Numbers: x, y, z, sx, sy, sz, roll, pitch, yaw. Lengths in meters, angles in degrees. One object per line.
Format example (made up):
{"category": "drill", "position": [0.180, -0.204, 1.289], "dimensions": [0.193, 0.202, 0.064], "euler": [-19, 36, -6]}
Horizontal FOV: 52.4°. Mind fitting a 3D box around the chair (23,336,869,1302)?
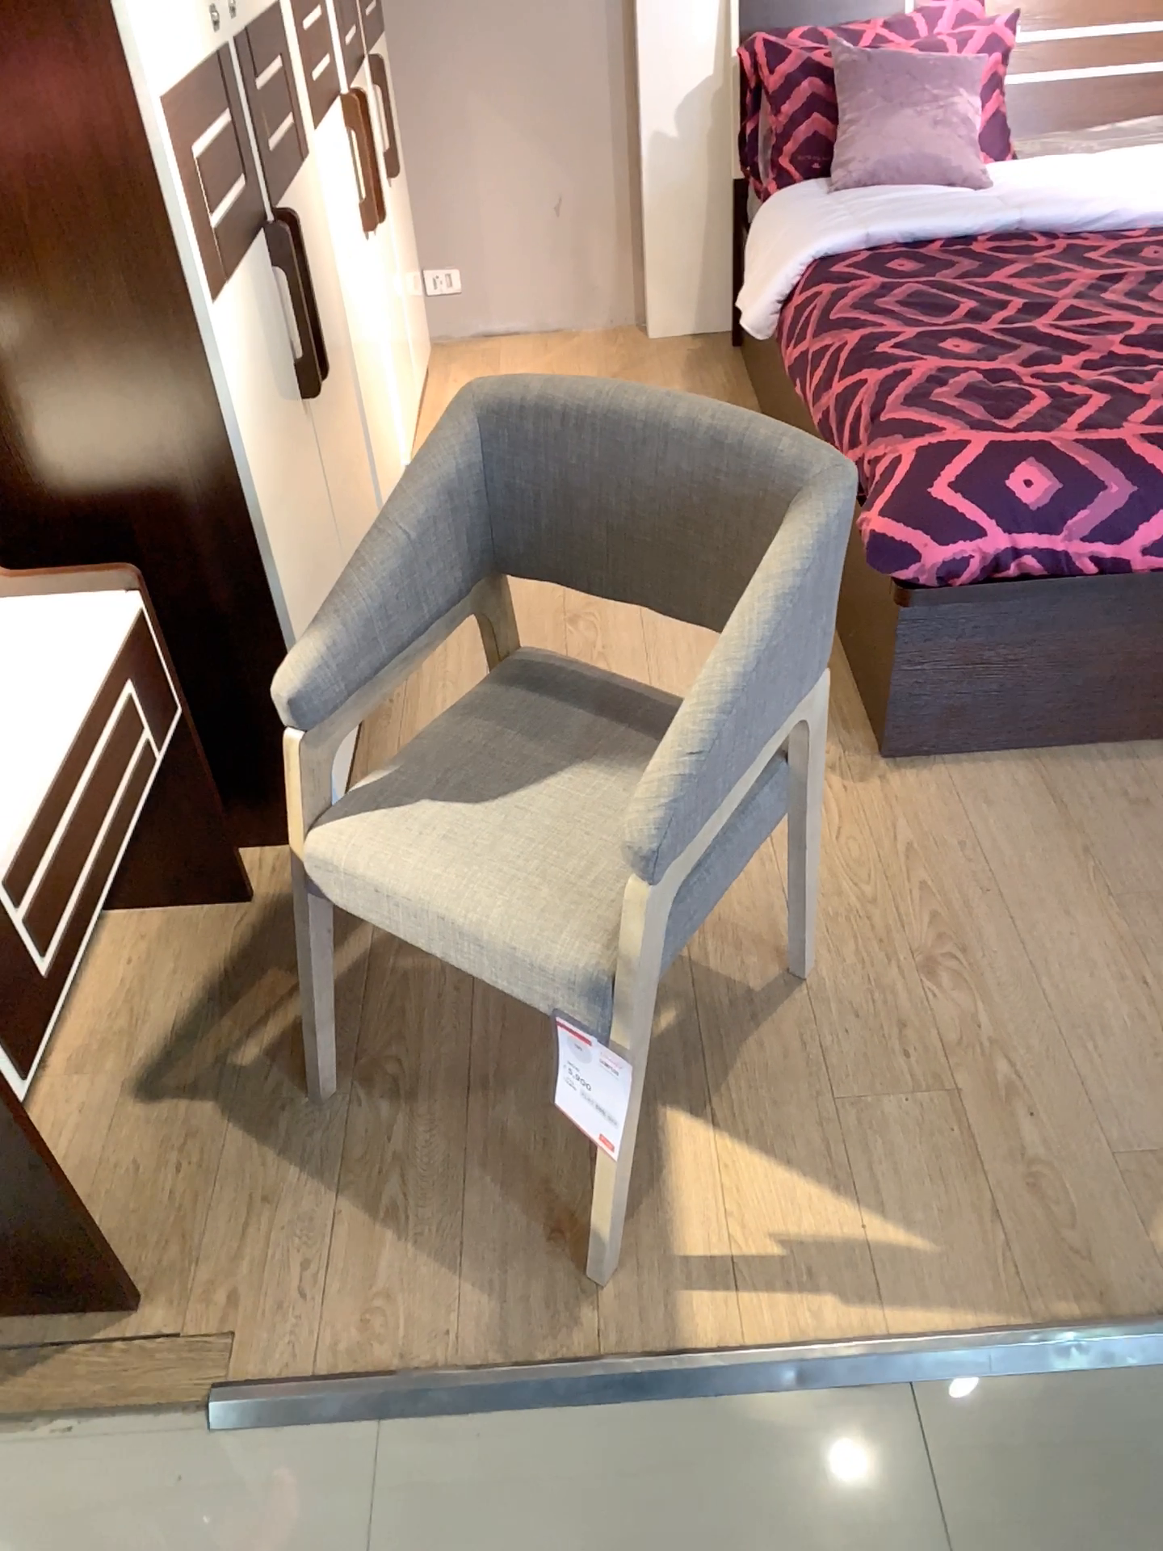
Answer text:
{"category": "chair", "position": [-0.082, 0.027, 1.368], "dimensions": [0.561, 0.797, 0.581], "euler": [21, 46, 28]}
